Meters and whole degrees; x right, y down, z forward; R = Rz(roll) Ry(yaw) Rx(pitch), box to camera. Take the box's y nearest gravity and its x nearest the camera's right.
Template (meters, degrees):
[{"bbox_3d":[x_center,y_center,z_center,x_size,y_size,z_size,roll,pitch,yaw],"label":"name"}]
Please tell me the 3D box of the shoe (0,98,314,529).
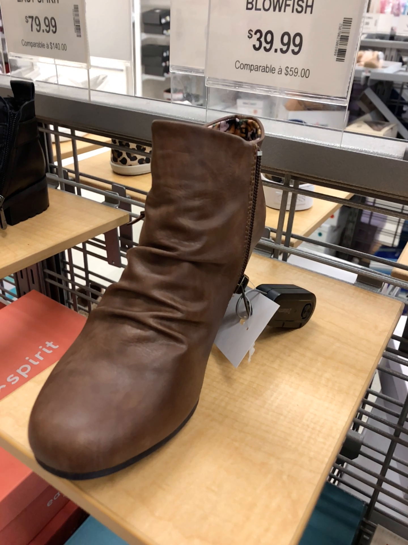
[{"bbox_3d":[-0.021,-0.011,0.269,0.090,0.139,0.231,17,32,22],"label":"shoe"}]
